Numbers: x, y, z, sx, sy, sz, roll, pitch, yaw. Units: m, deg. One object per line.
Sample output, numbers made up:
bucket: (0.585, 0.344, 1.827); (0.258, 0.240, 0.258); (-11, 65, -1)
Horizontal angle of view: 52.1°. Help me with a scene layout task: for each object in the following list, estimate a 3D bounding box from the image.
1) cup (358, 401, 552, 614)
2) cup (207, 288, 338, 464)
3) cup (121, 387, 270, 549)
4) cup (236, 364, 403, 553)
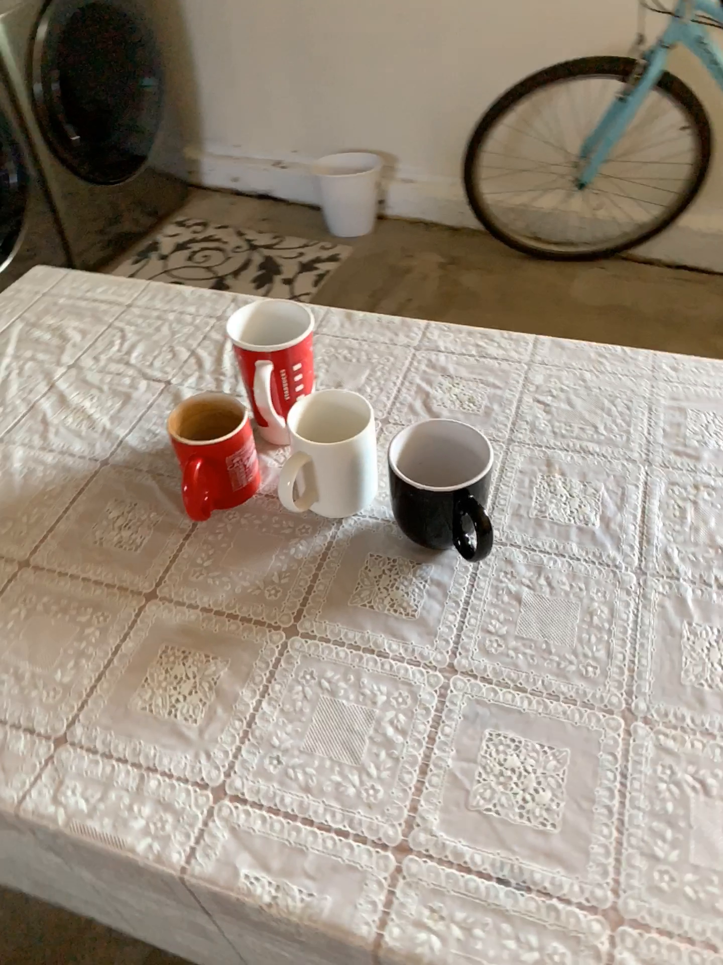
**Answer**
cup: (0.083, 0.019, 0.709); (0.110, 0.090, 0.161); (-21, 48, -15)
cup: (-0.094, -0.122, 0.846); (0.100, 0.139, 0.140); (3, 46, 8)
cup: (-0.170, -0.018, 0.788); (0.090, 0.090, 0.140); (8, 47, 13)
cup: (-0.038, -0.028, 0.778); (0.100, 0.110, 0.140); (24, 53, 26)
